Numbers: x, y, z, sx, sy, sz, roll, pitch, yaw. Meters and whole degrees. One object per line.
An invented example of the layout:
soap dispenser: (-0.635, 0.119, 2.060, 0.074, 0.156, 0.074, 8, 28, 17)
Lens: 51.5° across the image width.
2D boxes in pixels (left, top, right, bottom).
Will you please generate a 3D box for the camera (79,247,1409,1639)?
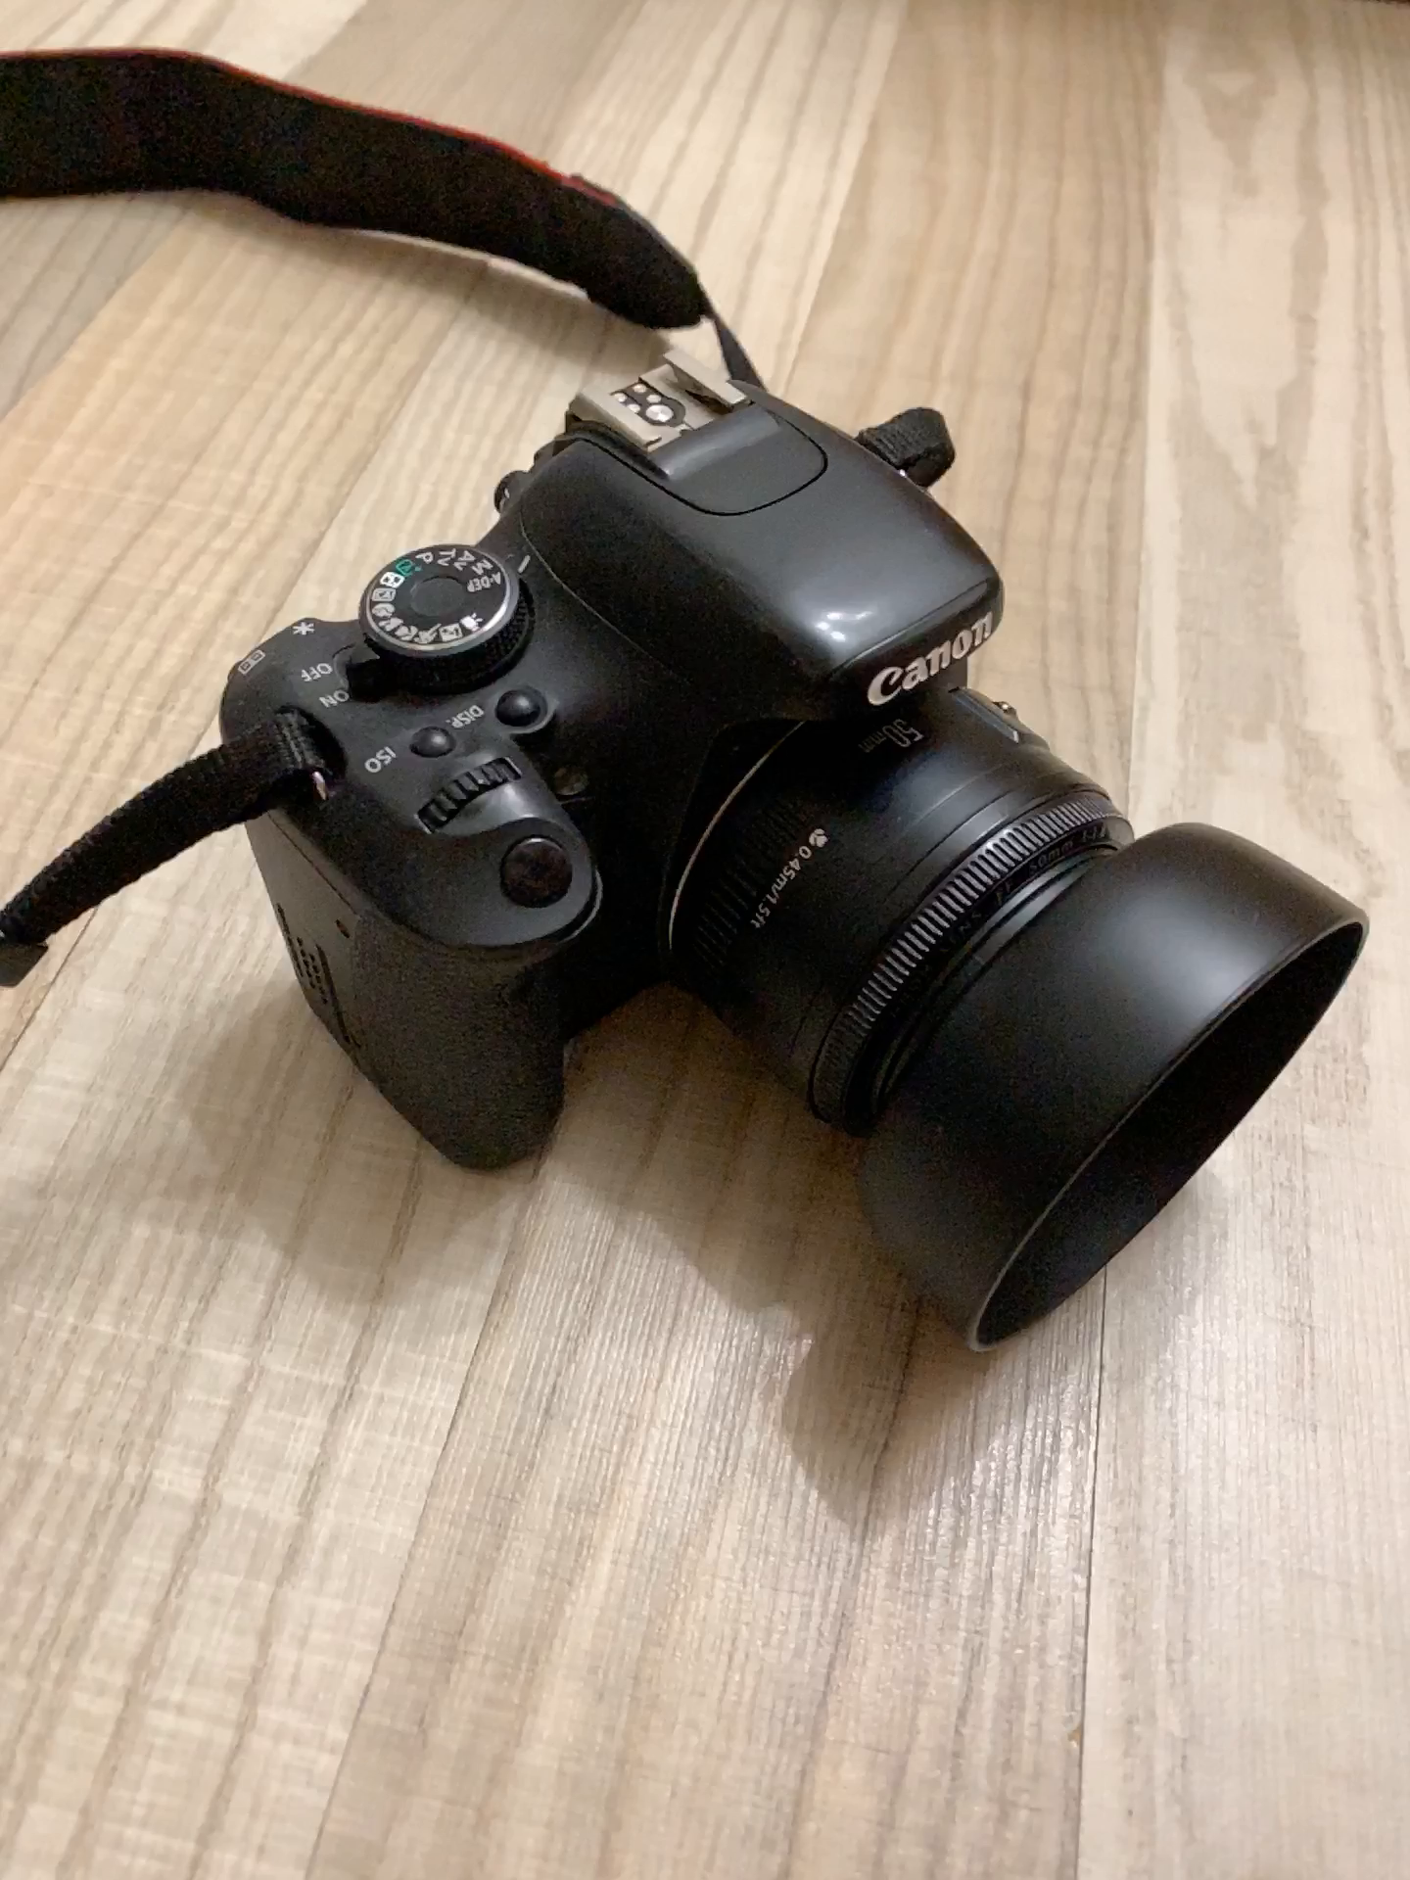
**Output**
camera: (0.015, -0.013, 0.228, 0.139, 0.089, 0.151, -32, 61, -25)
